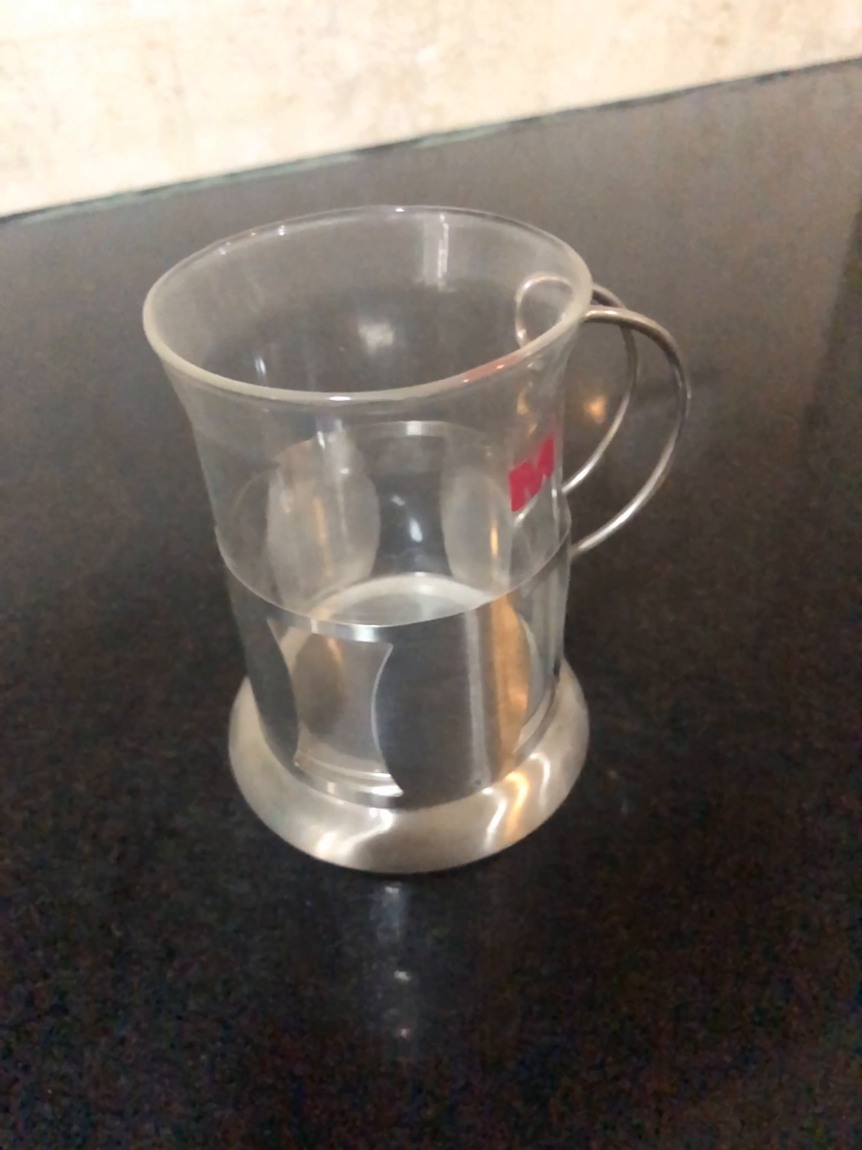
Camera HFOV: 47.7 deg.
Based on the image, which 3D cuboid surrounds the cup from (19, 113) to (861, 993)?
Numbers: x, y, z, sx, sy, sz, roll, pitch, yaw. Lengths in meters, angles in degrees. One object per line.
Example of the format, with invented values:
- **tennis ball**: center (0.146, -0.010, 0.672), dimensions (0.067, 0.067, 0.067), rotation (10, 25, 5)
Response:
- **cup**: center (0.003, -0.009, 0.181), dimensions (0.110, 0.109, 0.080), rotation (-19, 42, -18)
